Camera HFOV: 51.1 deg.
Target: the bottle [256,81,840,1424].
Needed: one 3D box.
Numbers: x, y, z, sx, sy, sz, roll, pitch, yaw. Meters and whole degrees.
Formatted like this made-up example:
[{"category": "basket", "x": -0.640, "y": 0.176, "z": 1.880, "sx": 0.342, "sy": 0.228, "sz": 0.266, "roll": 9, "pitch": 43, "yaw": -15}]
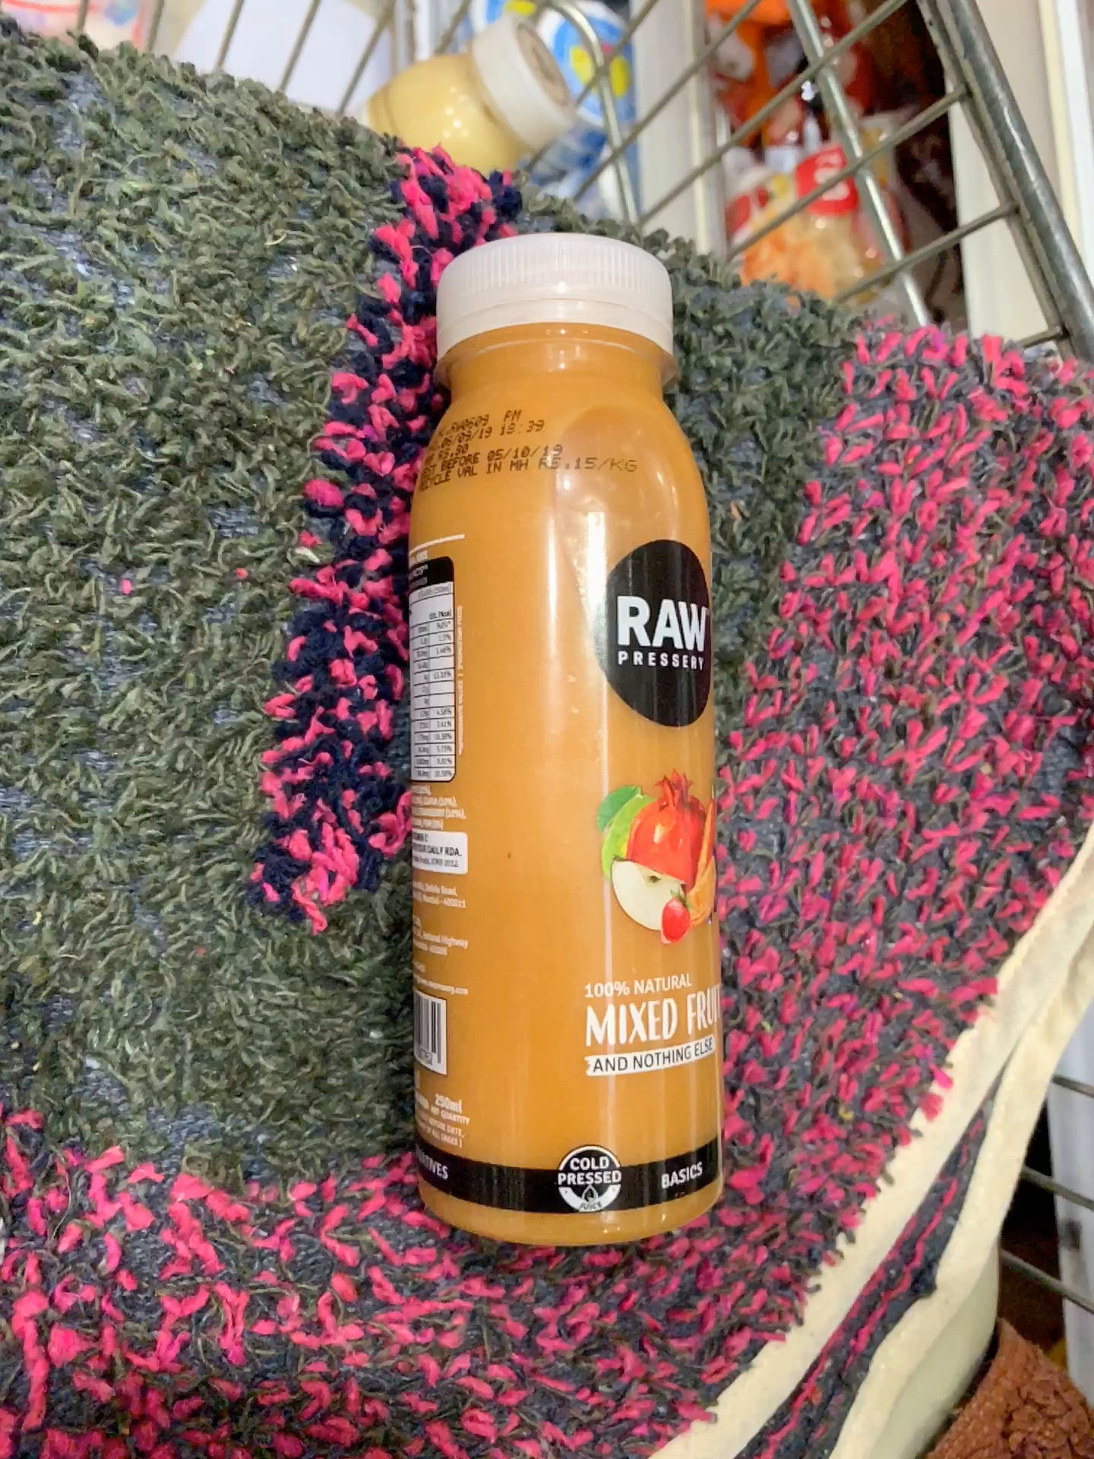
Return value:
[{"category": "bottle", "x": 0.000, "y": 0.003, "z": 0.170, "sx": 0.060, "sy": 0.060, "sz": 0.150, "roll": 2, "pitch": 86, "yaw": -46}]
